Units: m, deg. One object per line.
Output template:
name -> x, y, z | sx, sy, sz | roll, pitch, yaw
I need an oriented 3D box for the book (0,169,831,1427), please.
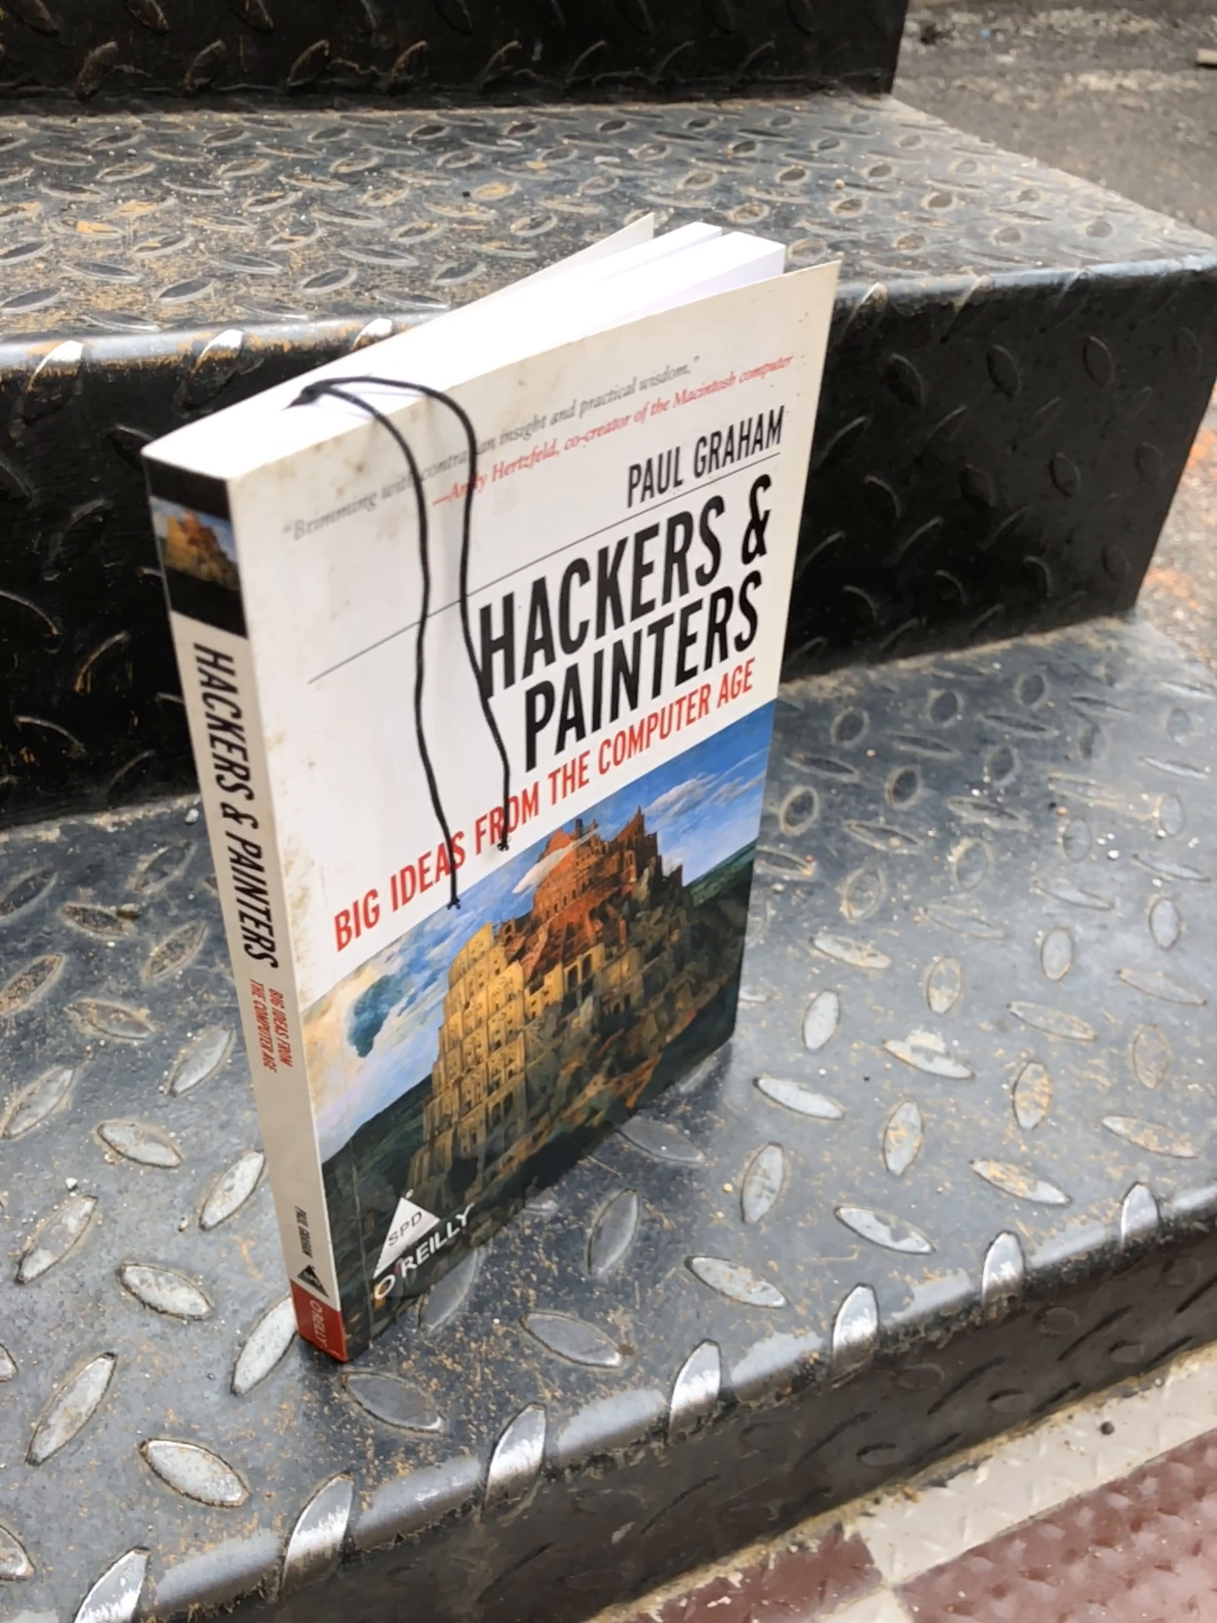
book -> -0.019, 0.001, 0.290 | 0.030, 0.219, 0.171 | 25, 45, 26
